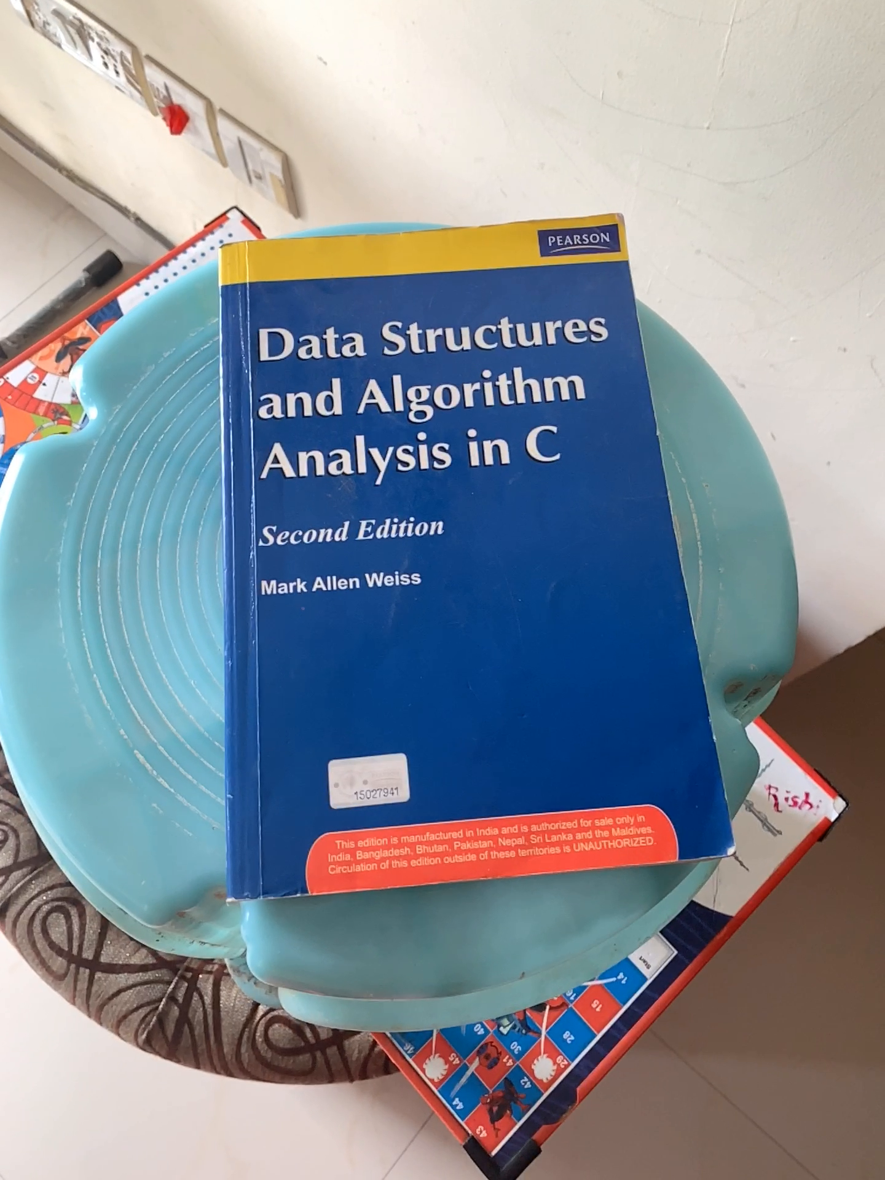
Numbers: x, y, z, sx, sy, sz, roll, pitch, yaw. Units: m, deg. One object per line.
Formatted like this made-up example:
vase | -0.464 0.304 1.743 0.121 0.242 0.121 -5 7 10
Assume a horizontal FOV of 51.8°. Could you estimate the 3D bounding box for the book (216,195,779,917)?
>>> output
book | 0.008 -0.023 0.315 0.160 0.030 0.241 -5 72 -3
